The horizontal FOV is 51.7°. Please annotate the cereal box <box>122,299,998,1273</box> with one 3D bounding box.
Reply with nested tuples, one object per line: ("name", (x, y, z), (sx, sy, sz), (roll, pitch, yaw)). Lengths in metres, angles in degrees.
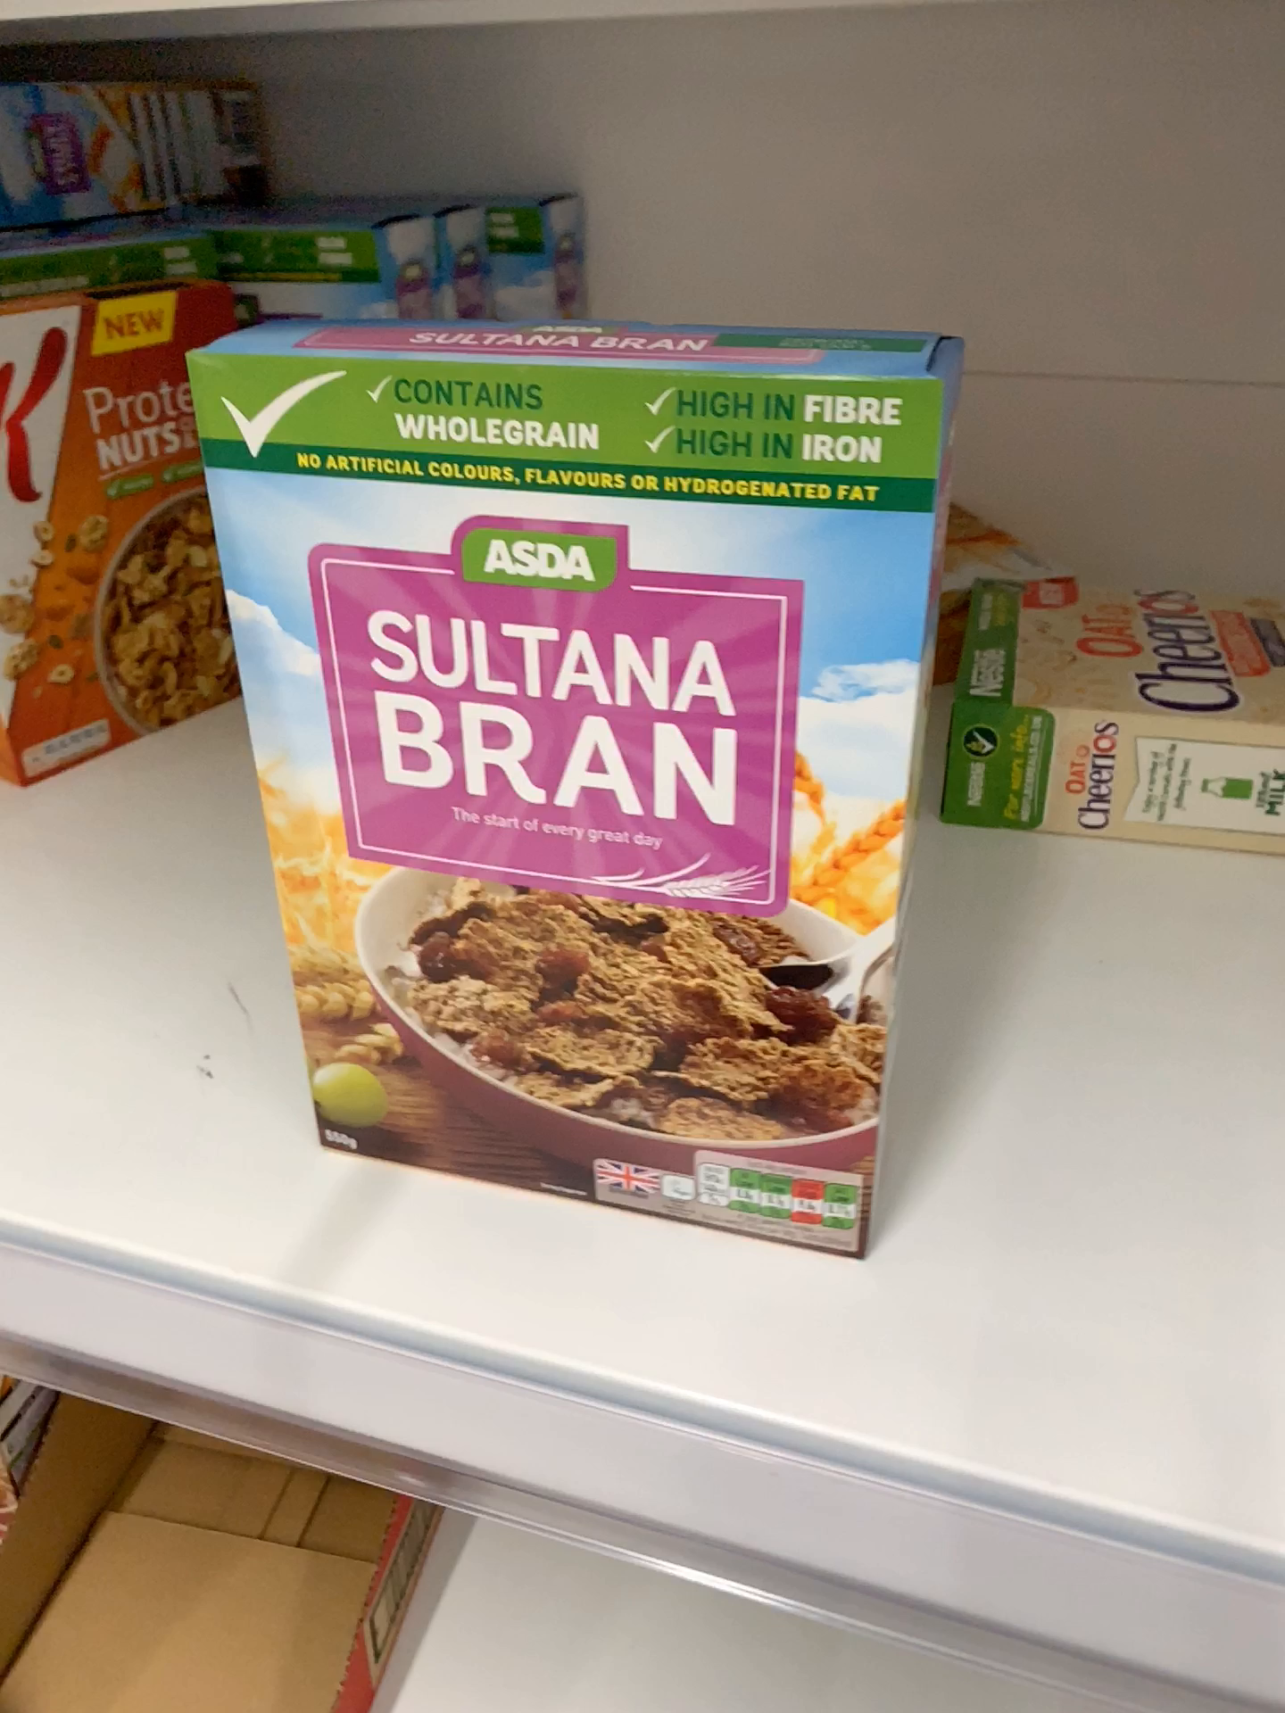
("cereal box", (-0.017, -0.018, 0.401), (0.210, 0.267, 0.071), (7, 31, 16))
